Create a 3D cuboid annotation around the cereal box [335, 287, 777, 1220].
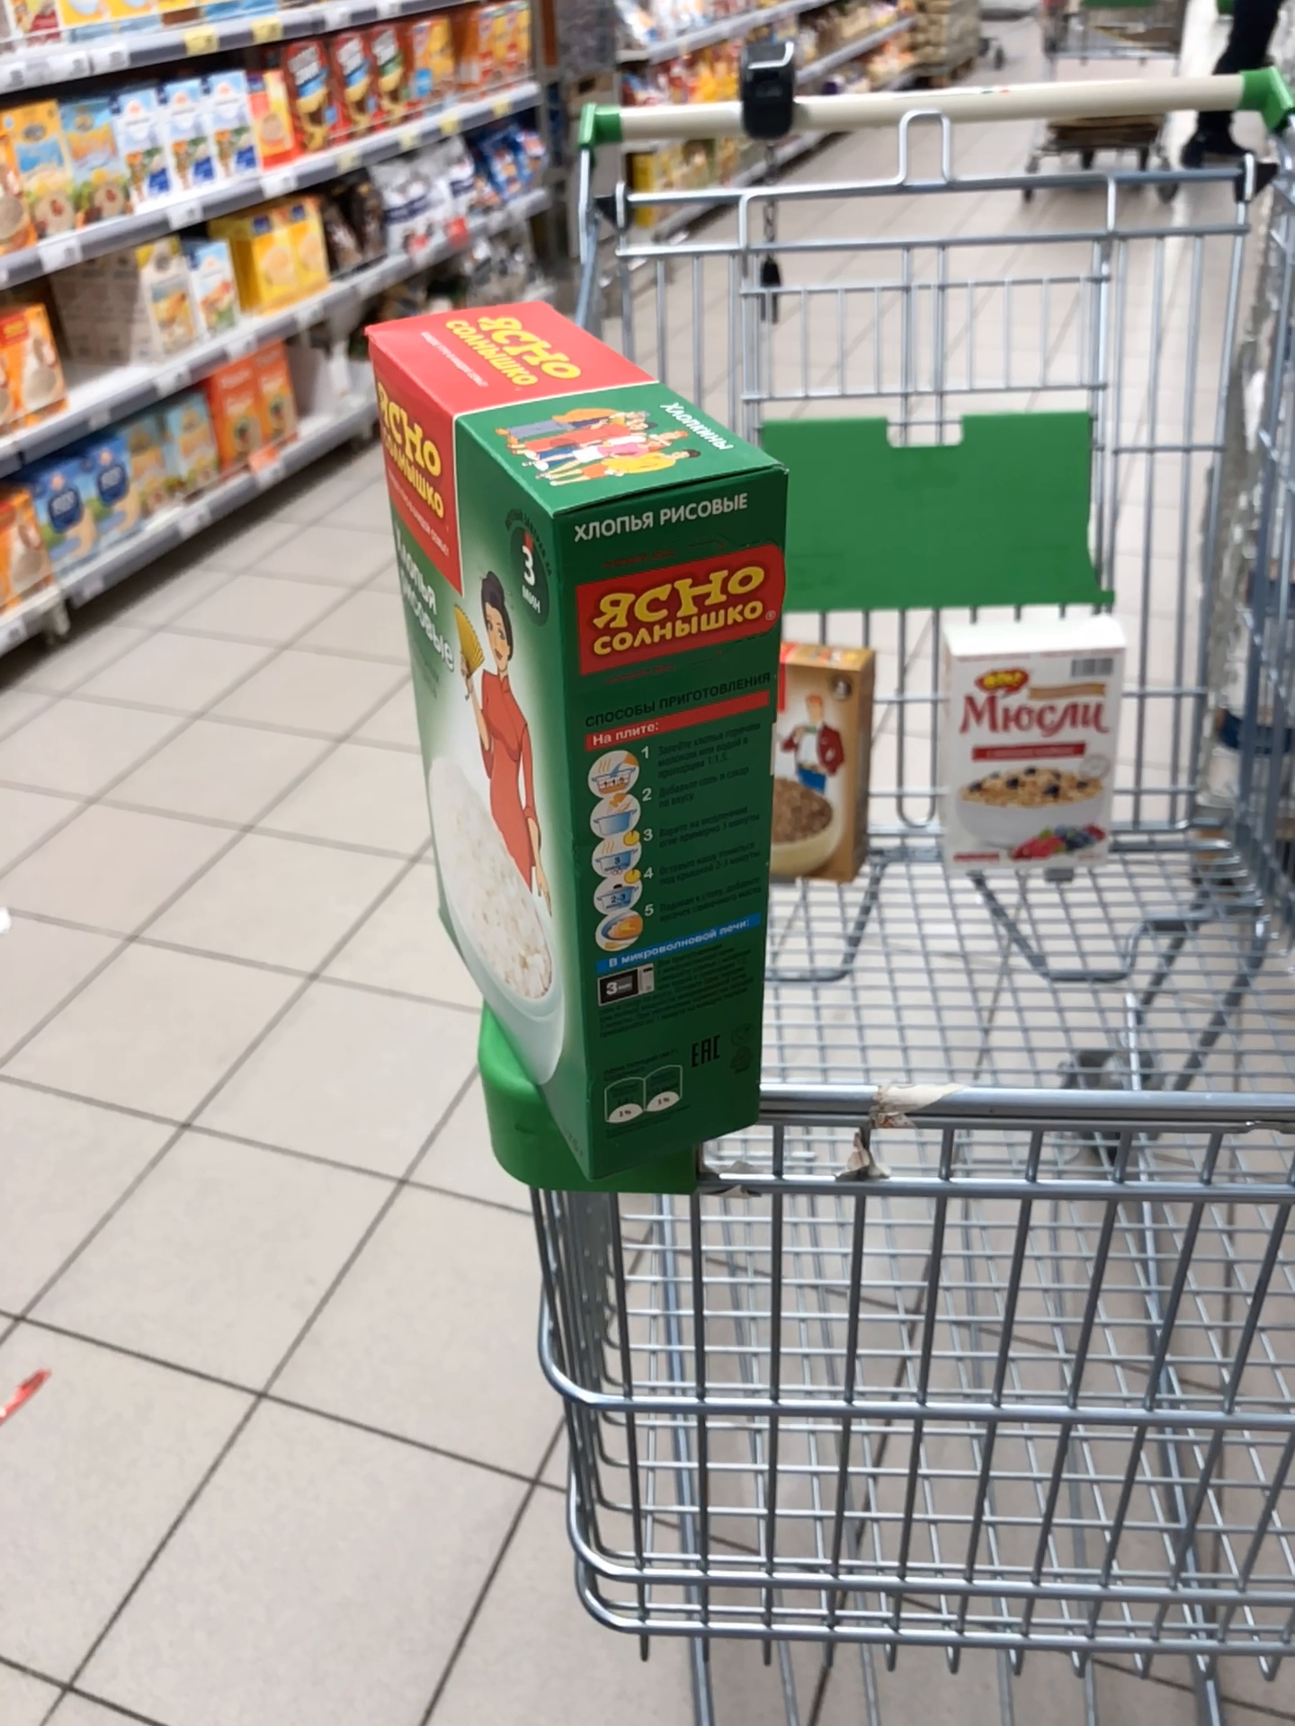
[{"bbox_3d":[-0.024,-0.030,0.369,0.050,0.189,0.141,-16,38,-18],"label":"cereal box"}]
